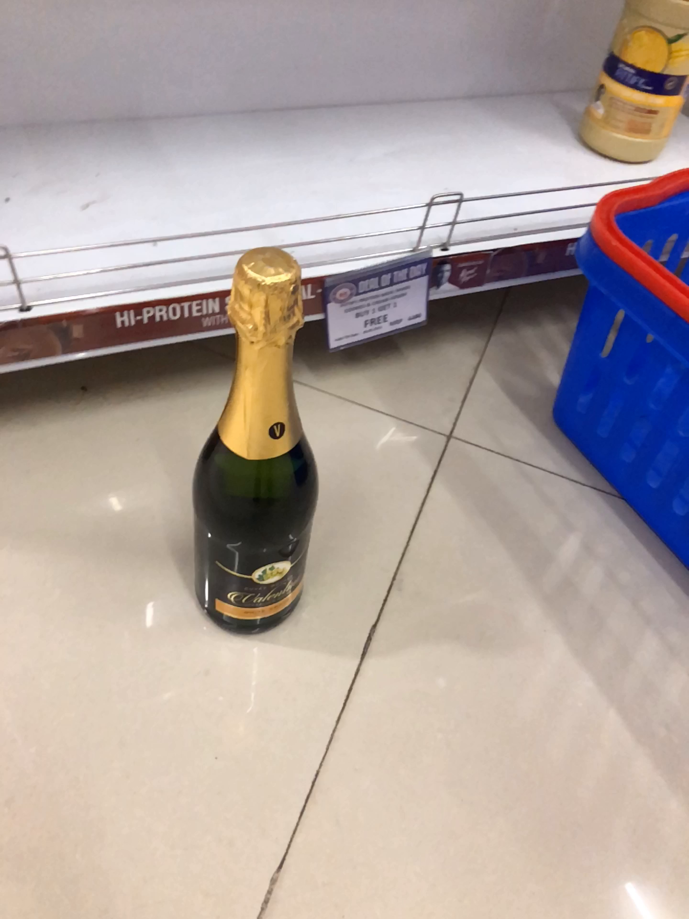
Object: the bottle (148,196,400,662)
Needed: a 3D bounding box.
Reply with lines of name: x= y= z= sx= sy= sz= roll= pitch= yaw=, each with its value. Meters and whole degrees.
bottle: x=-0.054 y=0.002 z=0.468 sx=0.090 sy=0.298 sz=0.090 roll=5 pitch=49 yaw=-6
